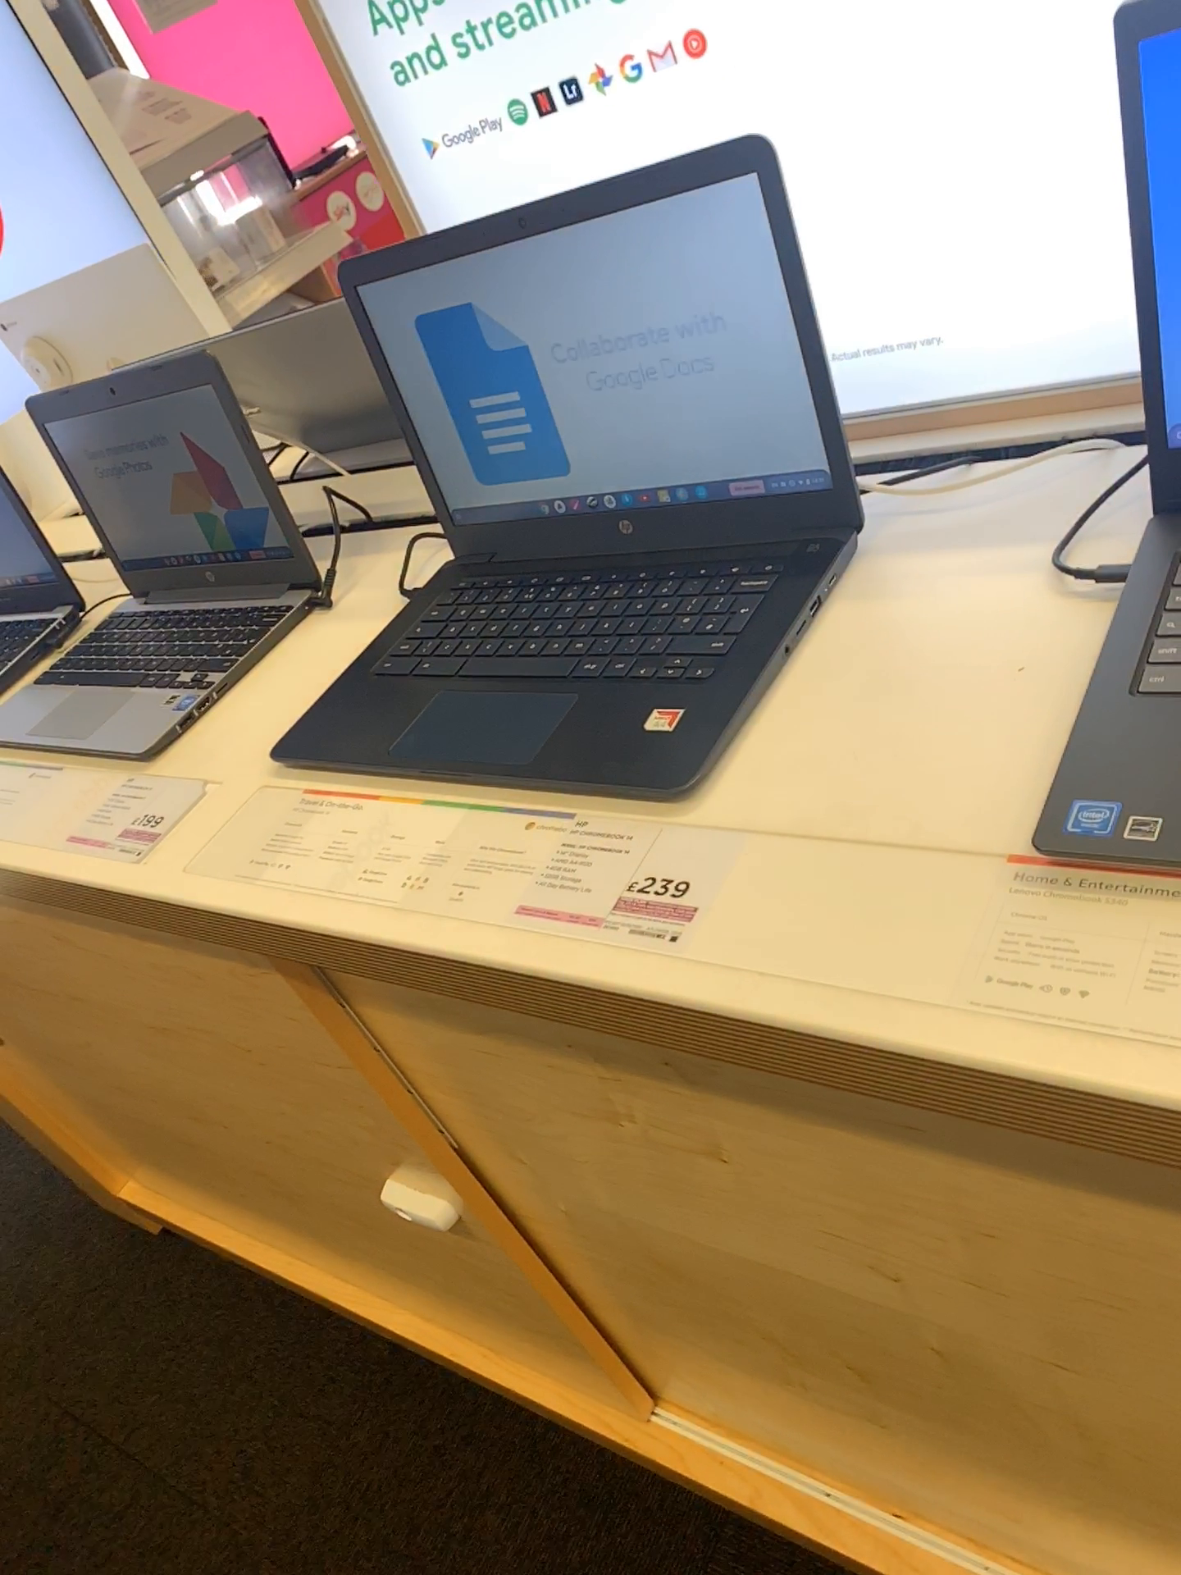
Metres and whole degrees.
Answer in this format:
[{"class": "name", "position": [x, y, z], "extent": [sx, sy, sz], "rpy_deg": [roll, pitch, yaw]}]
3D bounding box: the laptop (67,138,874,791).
[{"class": "laptop", "position": [-0.063, -0.170, 0.696], "extent": [0.332, 0.209, 0.245], "rpy_deg": [5, 46, 40]}]

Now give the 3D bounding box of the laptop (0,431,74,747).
[{"class": "laptop", "position": [-0.708, -0.182, 1.170], "extent": [0.335, 0.189, 0.191], "rpy_deg": [4, 47, 41]}]

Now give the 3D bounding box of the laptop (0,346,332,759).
[{"class": "laptop", "position": [-0.411, -0.183, 0.962], "extent": [0.271, 0.186, 0.242], "rpy_deg": [4, 46, 37]}]
